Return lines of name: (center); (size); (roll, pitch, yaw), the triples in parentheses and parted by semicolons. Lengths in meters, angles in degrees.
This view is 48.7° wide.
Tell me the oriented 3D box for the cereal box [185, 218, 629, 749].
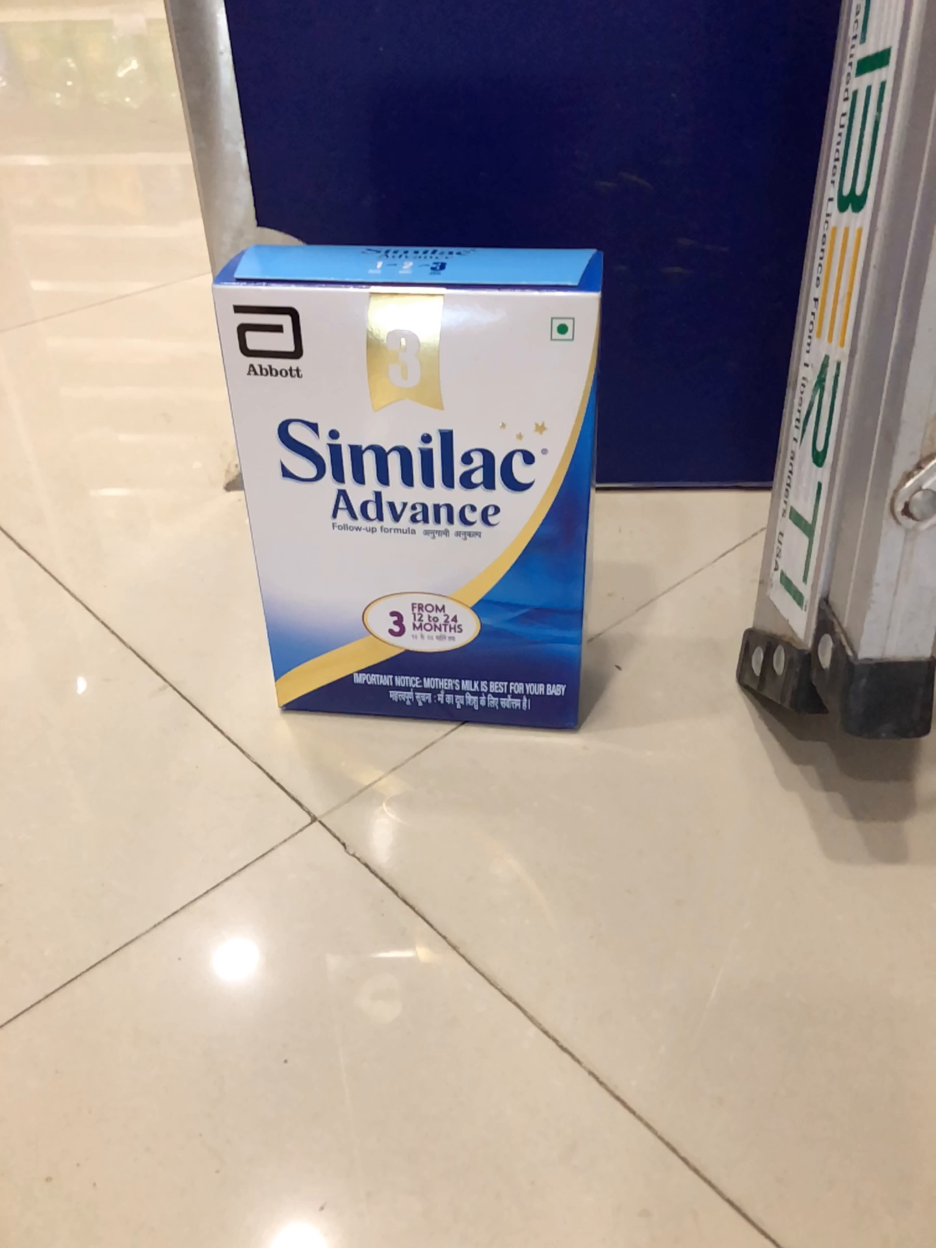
cereal box: (-0.015, -0.047, 0.402); (0.140, 0.199, 0.050); (4, 38, 7)
